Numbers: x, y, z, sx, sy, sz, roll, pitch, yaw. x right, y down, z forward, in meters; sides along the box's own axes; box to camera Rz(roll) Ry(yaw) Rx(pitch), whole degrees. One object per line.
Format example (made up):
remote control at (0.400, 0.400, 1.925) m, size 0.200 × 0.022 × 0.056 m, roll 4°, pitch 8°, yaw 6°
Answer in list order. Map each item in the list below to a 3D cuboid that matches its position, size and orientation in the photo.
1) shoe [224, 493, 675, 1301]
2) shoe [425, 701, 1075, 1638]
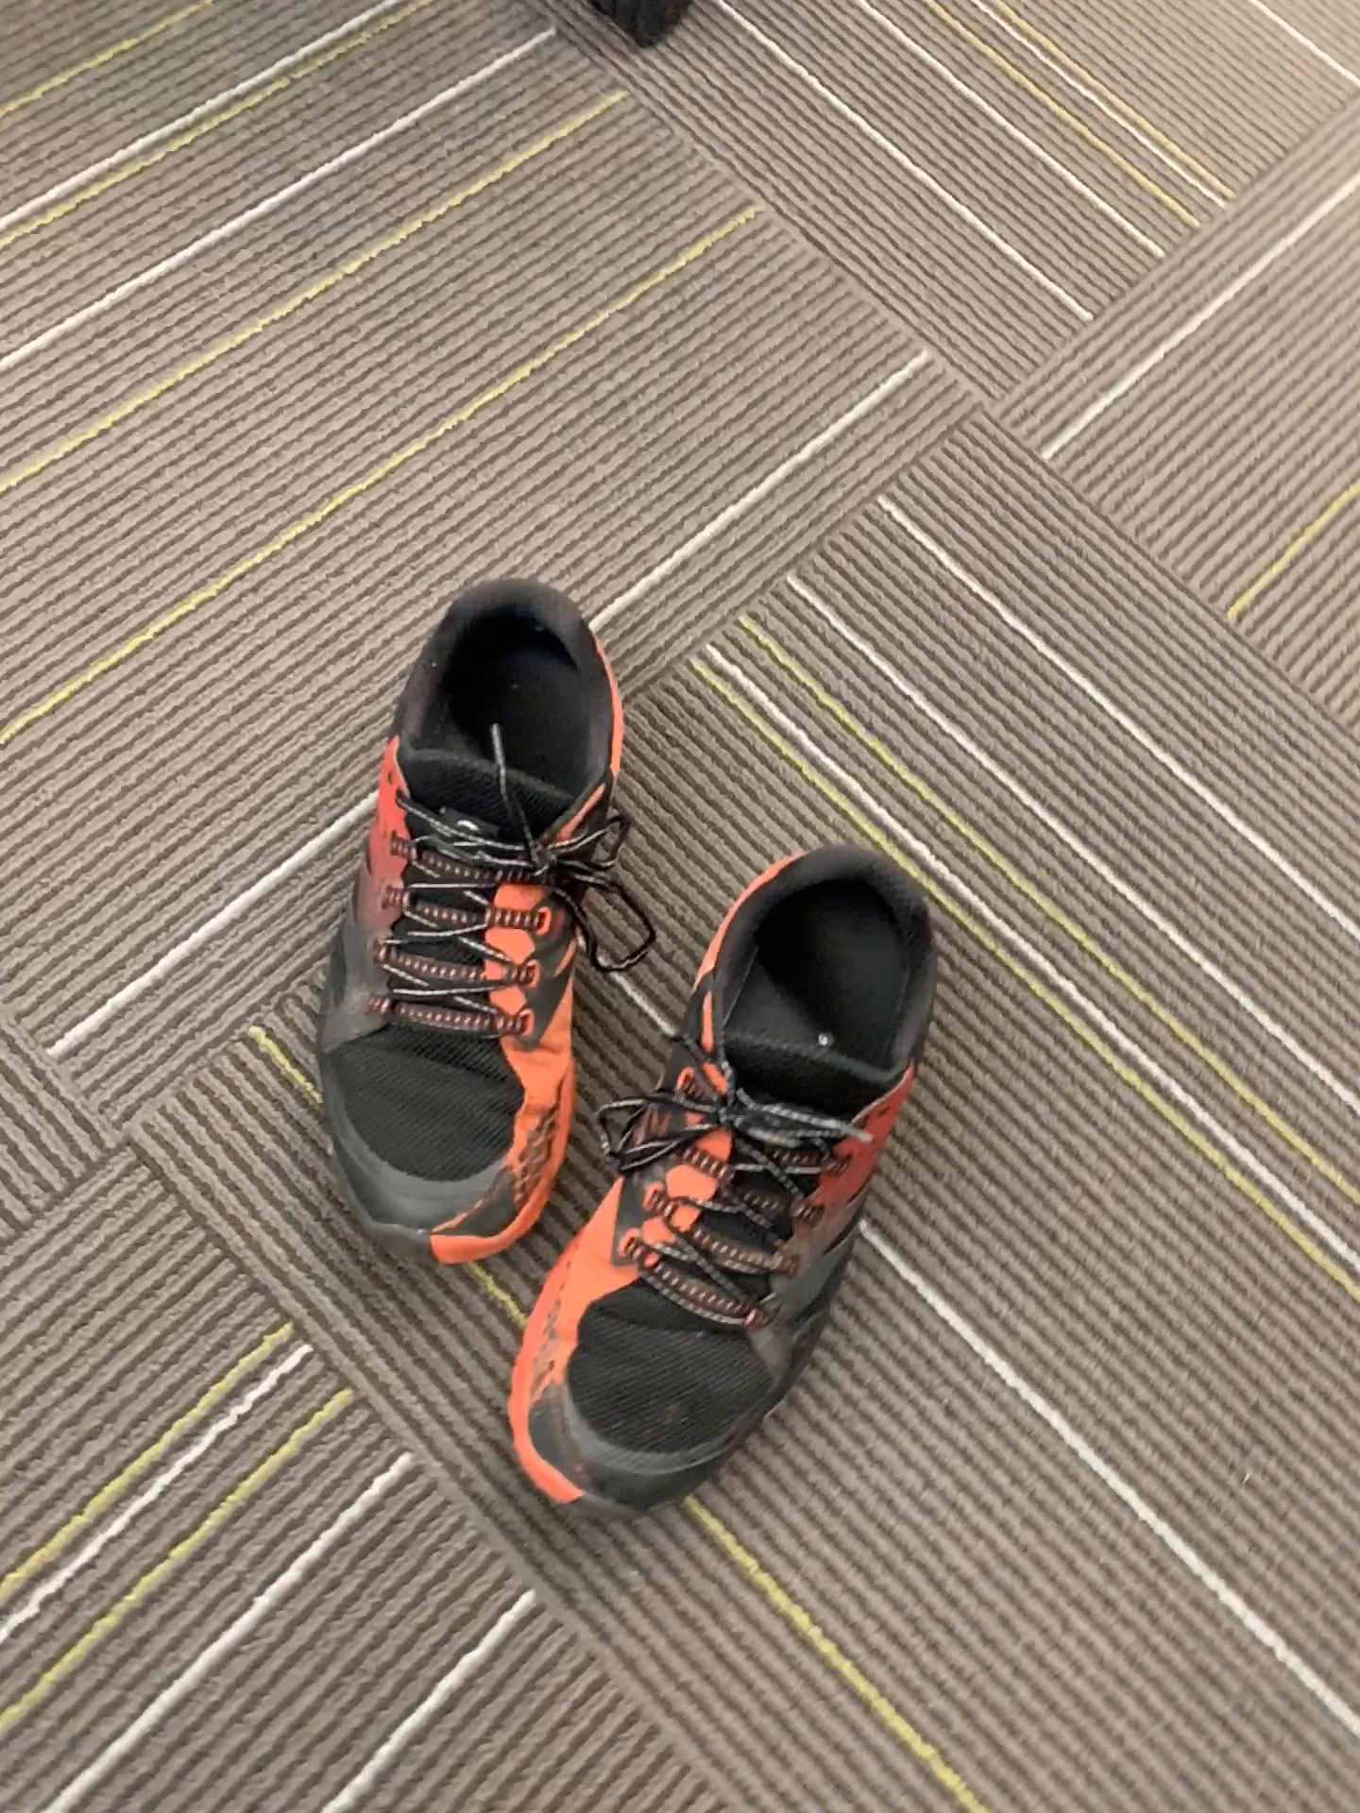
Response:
shoe at (-0.088, 0.000, 0.598) m, size 0.130 × 0.130 × 0.310 m, roll 7°, pitch 70°, yaw -5°
shoe at (0.030, 0.099, 0.575) m, size 0.130 × 0.130 × 0.320 m, roll 25°, pitch 70°, yaw 1°
